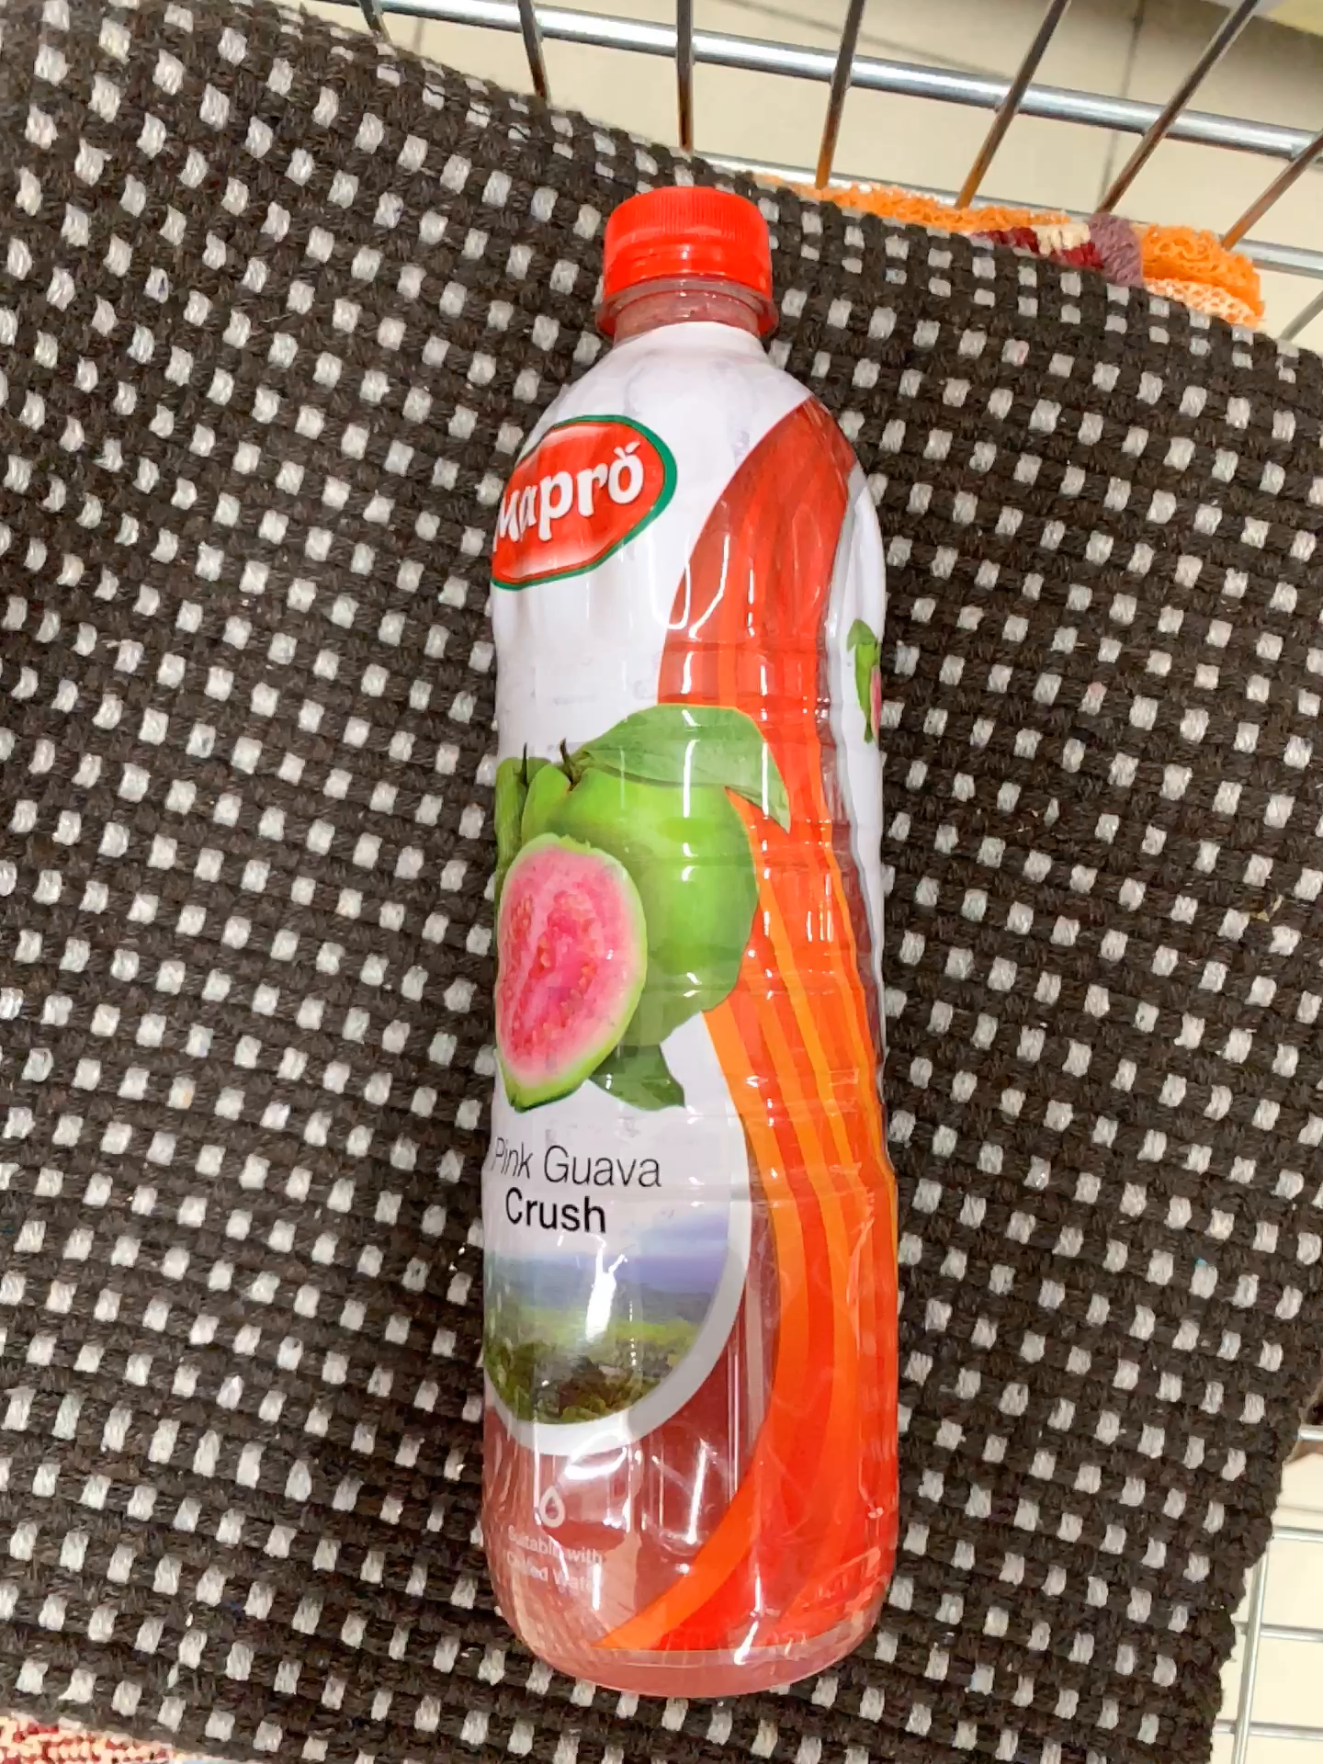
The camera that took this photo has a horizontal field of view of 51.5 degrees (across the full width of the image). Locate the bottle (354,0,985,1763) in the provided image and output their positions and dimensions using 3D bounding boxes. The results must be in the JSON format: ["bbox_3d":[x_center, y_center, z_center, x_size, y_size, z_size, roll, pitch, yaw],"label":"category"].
[{"bbox_3d":[0.001,-0.003,0.226,0.070,0.070,0.240,6,82,-49],"label":"bottle"}]
